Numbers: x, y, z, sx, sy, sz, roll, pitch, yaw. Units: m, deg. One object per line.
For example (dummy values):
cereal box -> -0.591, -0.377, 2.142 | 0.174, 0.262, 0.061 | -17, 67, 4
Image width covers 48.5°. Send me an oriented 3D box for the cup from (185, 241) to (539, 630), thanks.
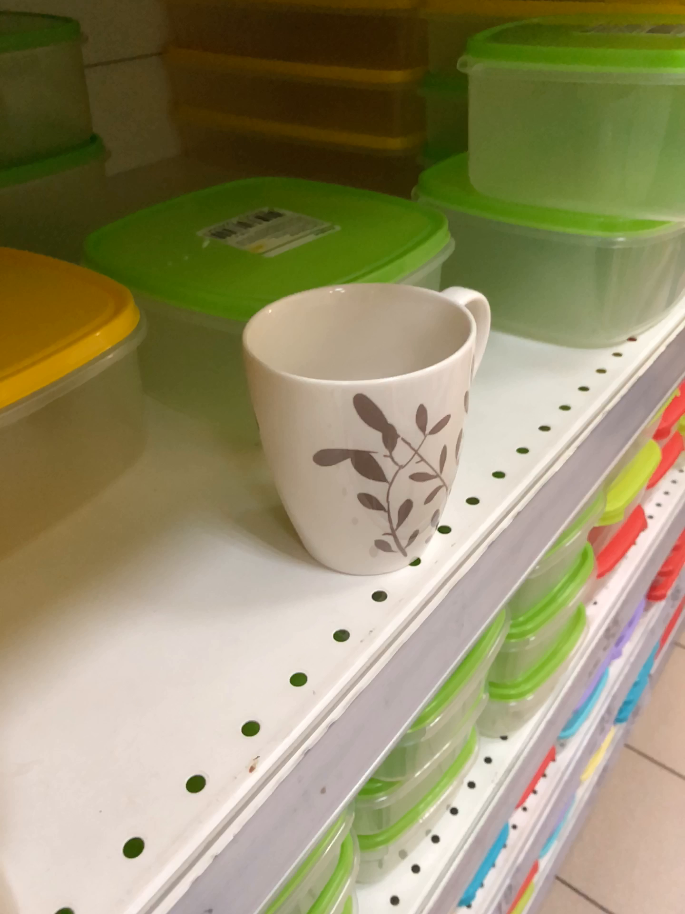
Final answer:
cup -> 0.013, -0.017, 0.320 | 0.086, 0.097, 0.121 | 20, 41, 26
